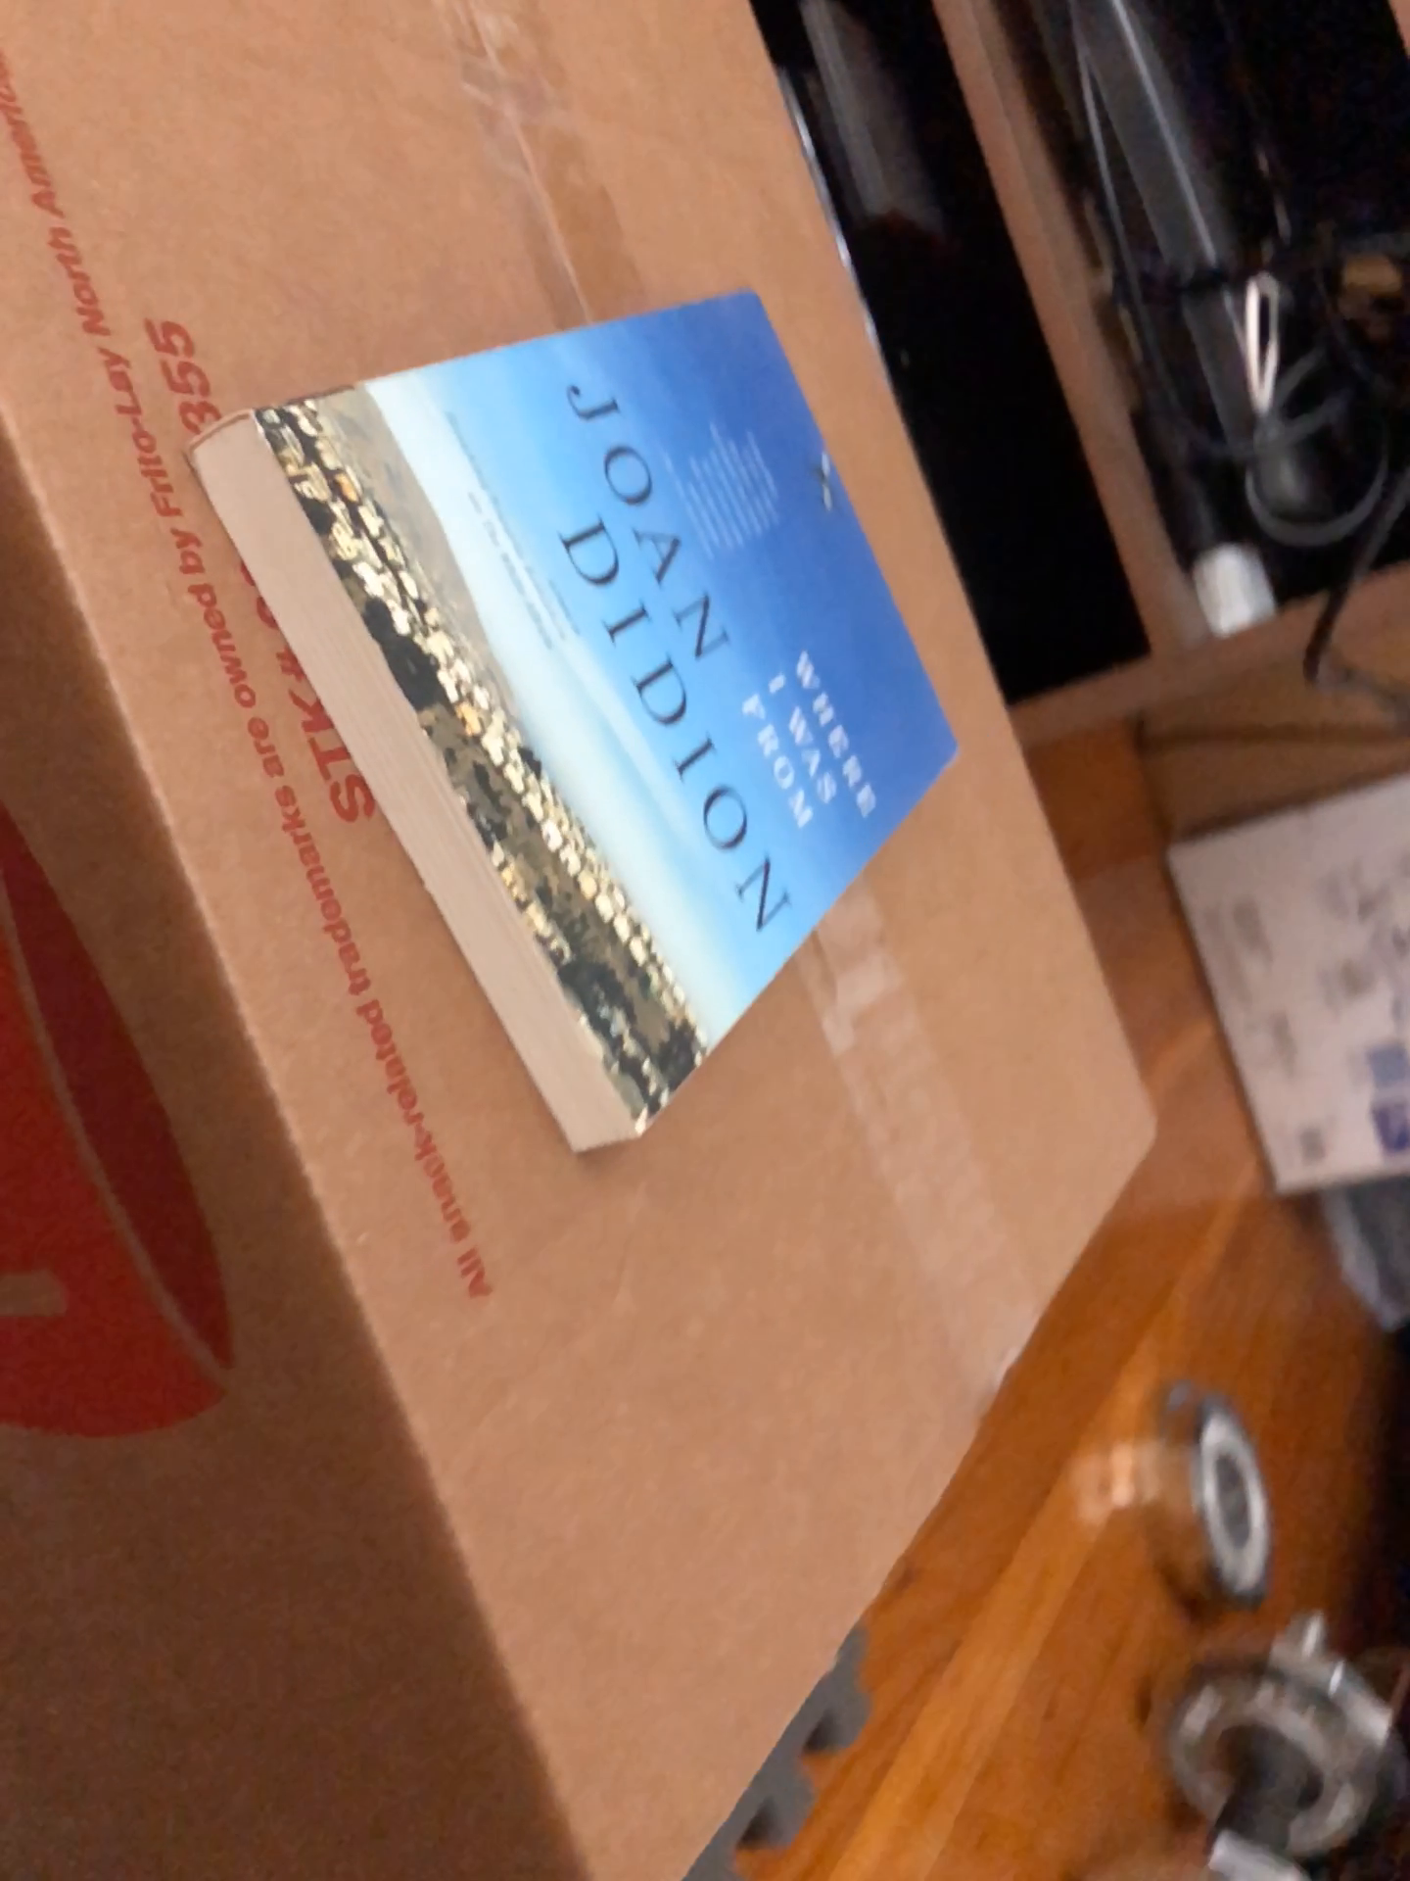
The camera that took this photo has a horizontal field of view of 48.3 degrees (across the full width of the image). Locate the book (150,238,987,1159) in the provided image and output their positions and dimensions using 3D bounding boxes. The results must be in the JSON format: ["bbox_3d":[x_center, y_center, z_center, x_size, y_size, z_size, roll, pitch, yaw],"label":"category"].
[{"bbox_3d":[-0.003,-0.070,0.336,0.140,0.020,0.211,62,33,-14],"label":"book"}]
